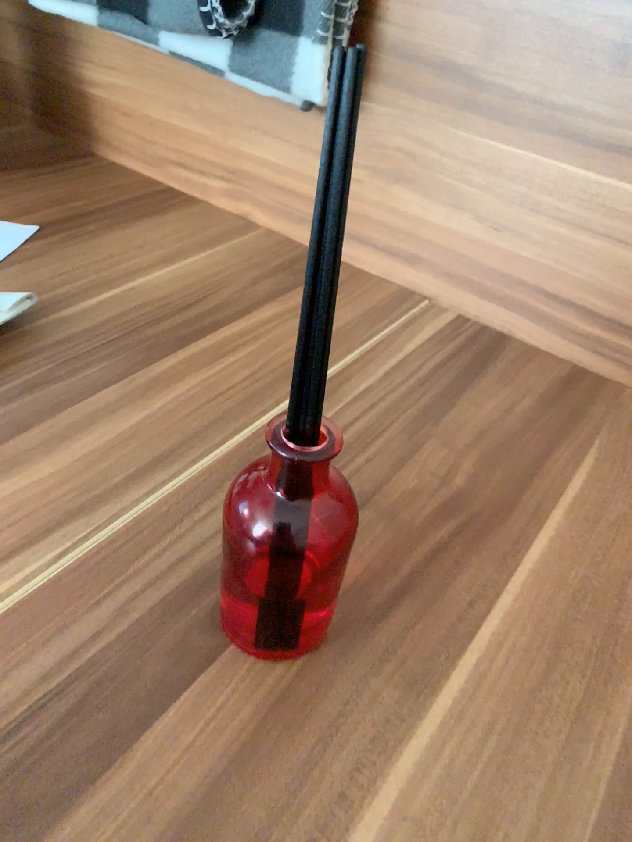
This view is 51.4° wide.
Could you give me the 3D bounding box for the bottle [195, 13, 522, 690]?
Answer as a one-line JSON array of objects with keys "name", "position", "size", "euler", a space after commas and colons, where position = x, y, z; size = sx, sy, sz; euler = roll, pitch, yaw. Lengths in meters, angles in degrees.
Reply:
[{"name": "bottle", "position": [-0.003, -0.002, 0.236], "size": [0.060, 0.239, 0.050], "euler": [33, 44, 26]}]
